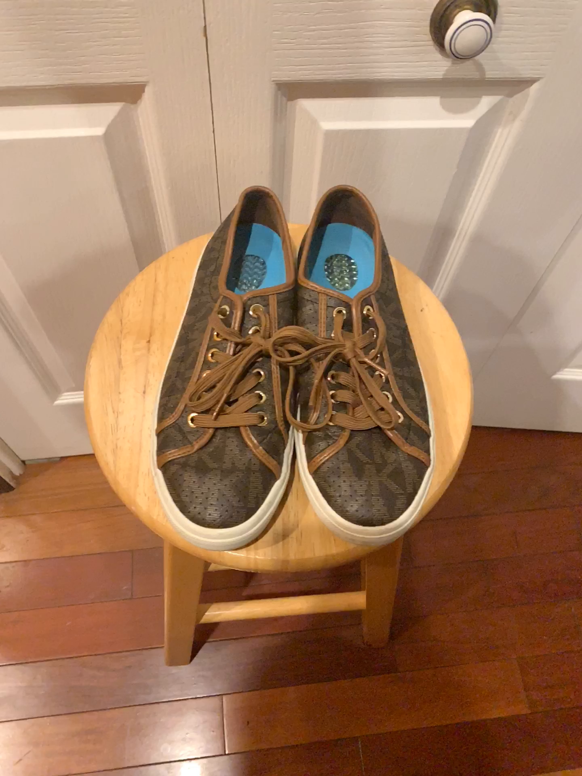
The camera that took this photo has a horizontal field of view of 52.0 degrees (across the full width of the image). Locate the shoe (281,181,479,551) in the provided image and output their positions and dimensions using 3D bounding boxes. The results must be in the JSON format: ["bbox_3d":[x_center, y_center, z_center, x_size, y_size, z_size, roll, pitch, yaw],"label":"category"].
[{"bbox_3d":[0.049,-0.025,0.432,0.100,0.080,0.261,-1,62,-3],"label":"shoe"}]

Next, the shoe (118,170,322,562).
[{"bbox_3d":[-0.037,-0.022,0.423,0.100,0.090,0.261,4,62,0],"label":"shoe"}]
